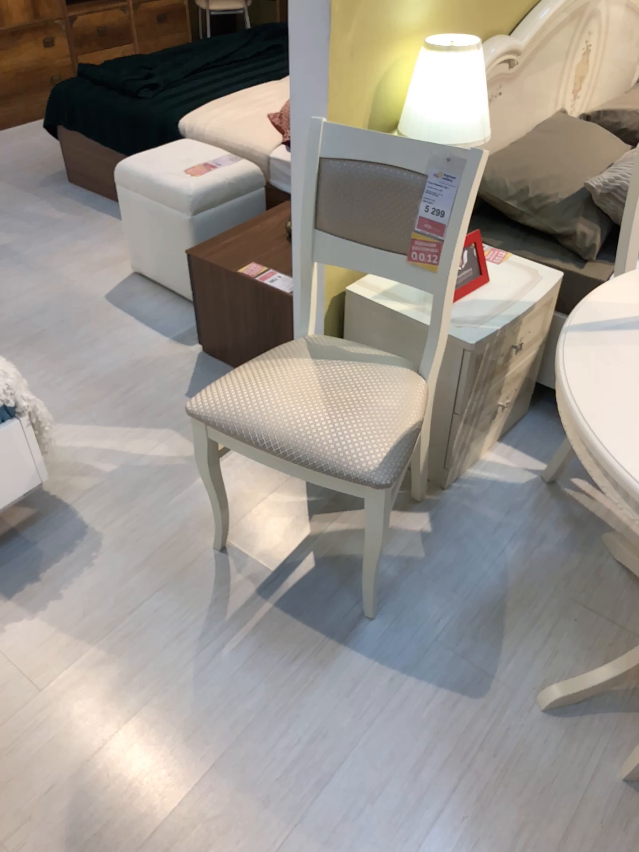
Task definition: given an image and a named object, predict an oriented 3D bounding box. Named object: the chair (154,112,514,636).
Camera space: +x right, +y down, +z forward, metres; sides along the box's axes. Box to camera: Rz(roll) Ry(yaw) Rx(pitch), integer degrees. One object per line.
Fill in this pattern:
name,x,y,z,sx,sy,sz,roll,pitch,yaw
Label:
chair,0.042,-0.092,1.549,0.470,0.946,0.474,19,43,21
